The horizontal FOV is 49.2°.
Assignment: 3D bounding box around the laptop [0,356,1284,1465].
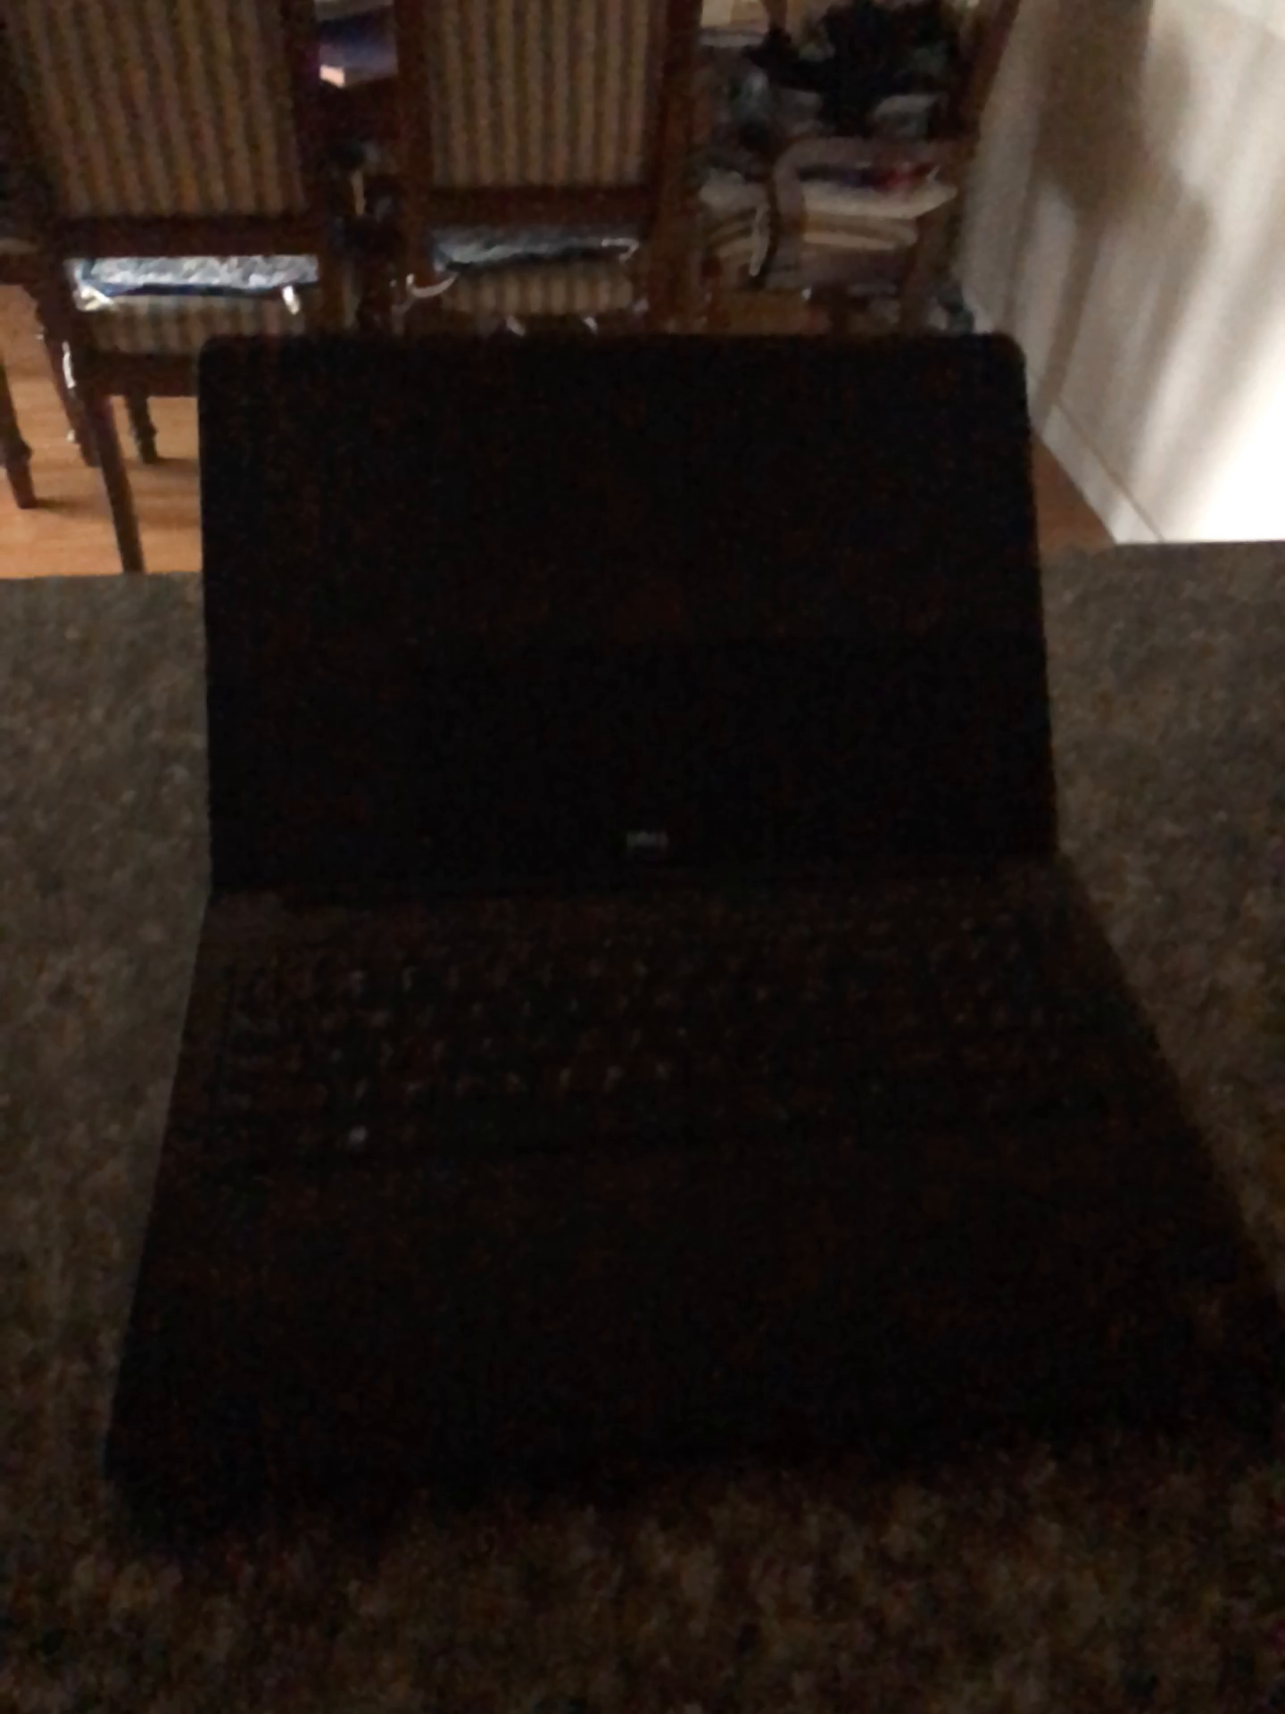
[{"bbox_3d":[0.011,-0.027,0.530,0.361,0.158,0.416,-3,42,-6],"label":"laptop"}]
